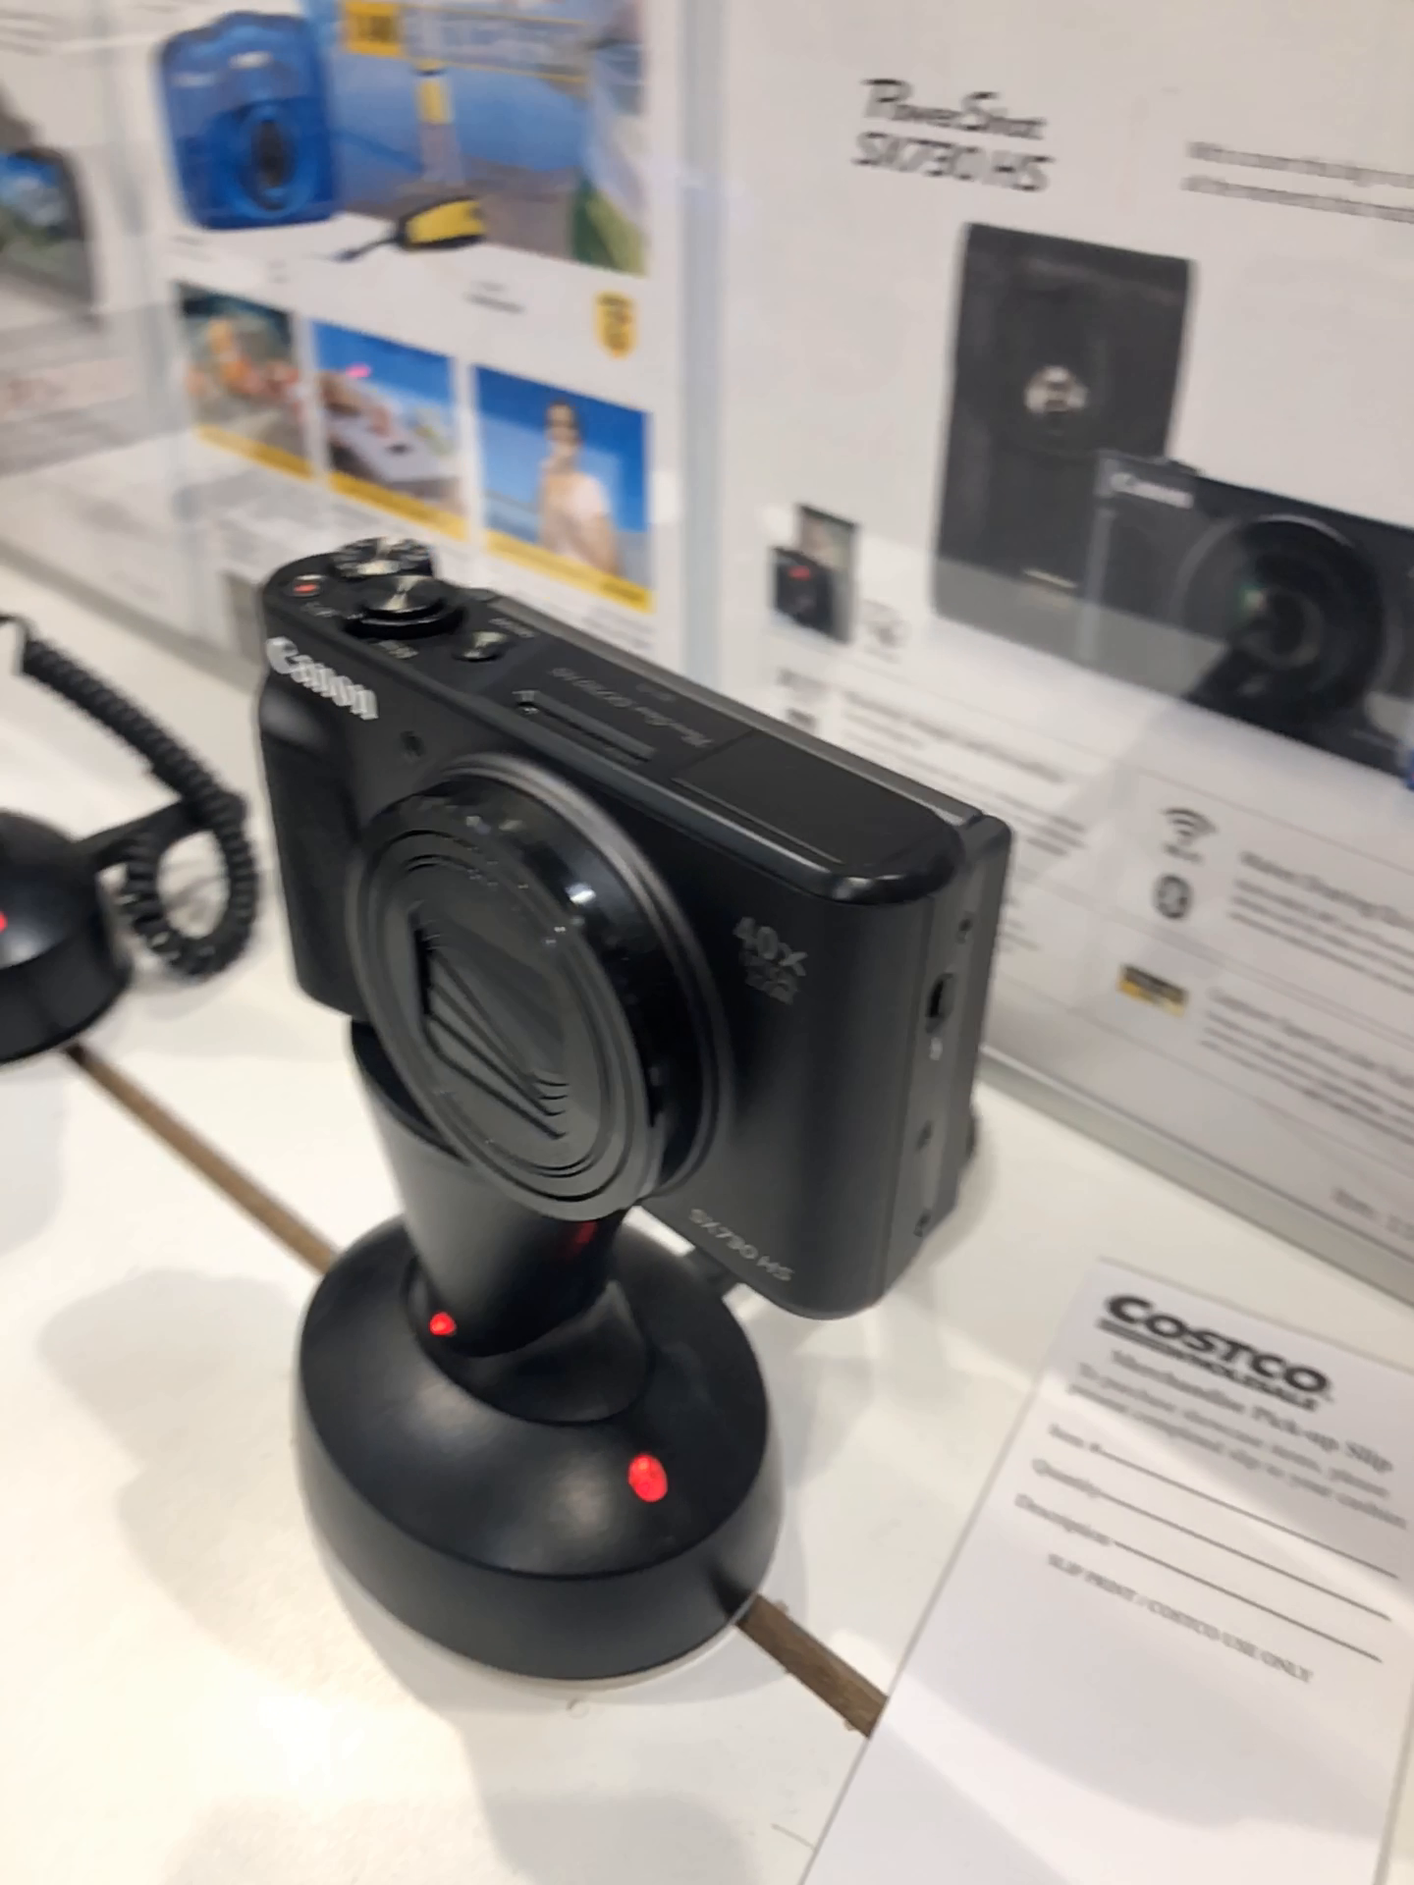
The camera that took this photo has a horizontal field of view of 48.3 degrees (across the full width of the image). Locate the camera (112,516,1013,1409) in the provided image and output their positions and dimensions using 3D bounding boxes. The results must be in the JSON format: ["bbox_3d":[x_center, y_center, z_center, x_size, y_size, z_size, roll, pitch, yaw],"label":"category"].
[{"bbox_3d":[-0.022,-0.005,0.196,0.040,0.060,0.110,-29,44,-36],"label":"camera"}]
